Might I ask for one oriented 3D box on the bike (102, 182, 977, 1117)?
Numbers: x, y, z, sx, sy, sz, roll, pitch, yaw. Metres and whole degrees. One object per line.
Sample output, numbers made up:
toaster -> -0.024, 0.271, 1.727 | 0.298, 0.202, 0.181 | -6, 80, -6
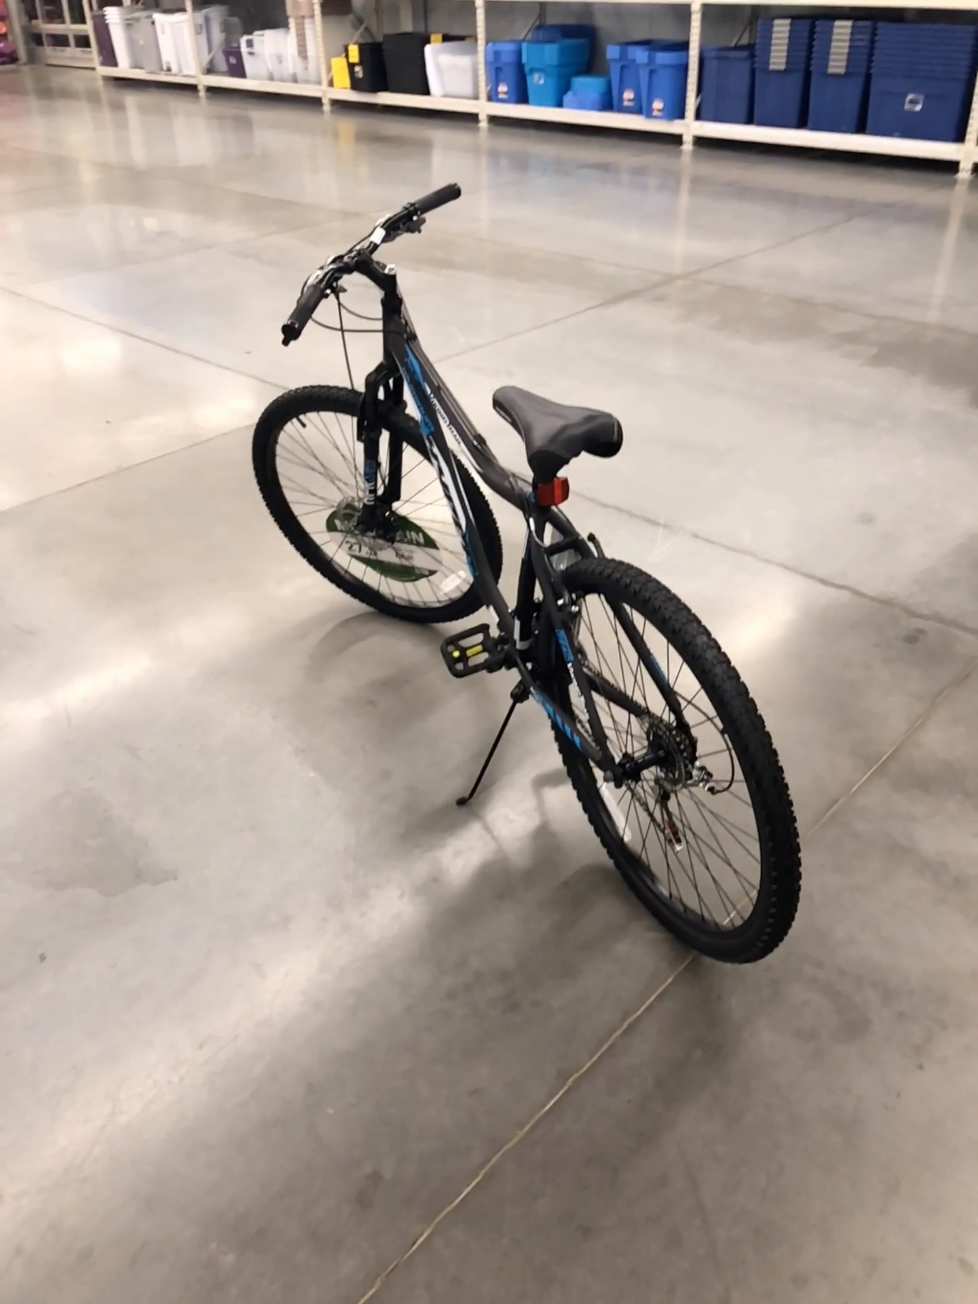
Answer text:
bike -> -0.062, -0.201, 1.935 | 0.572, 0.987, 1.641 | -21, 37, -27
